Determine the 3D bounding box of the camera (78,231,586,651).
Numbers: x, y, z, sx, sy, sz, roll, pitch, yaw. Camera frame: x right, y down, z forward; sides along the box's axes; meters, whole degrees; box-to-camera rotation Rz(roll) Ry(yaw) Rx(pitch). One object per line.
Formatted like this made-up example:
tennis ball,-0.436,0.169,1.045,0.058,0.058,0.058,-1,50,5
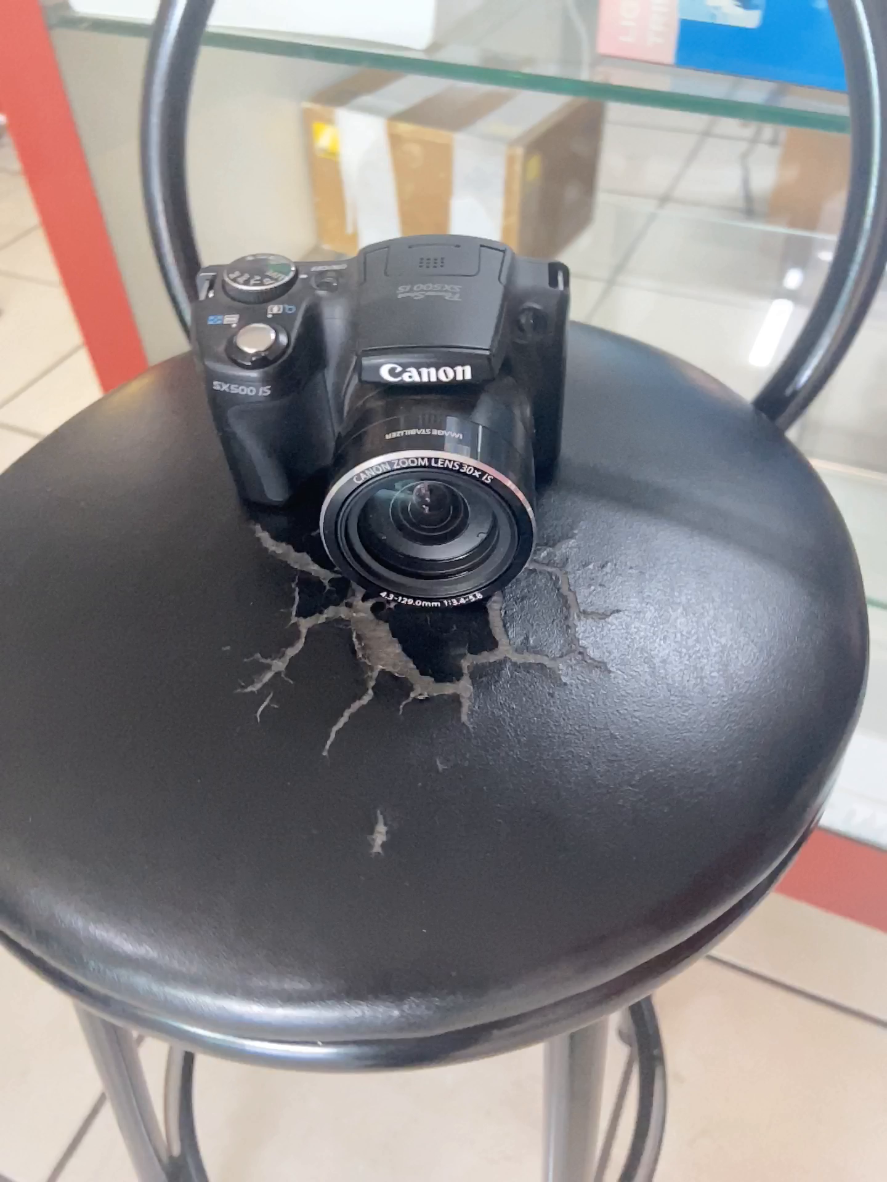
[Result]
camera,-0.023,-0.043,0.255,0.110,0.070,0.091,-2,45,2
